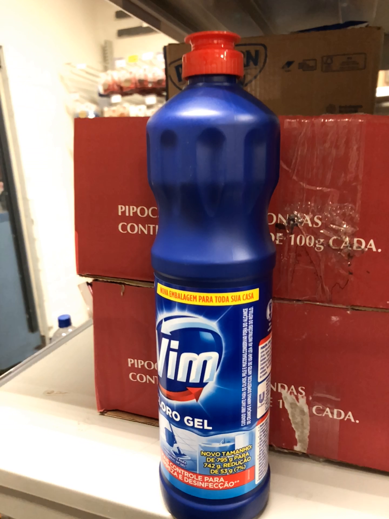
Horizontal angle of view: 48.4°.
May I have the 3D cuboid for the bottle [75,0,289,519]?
[{"bbox_3d":[0.000,0.012,0.214,0.070,0.229,0.060,6,16,37],"label":"bottle"}]
